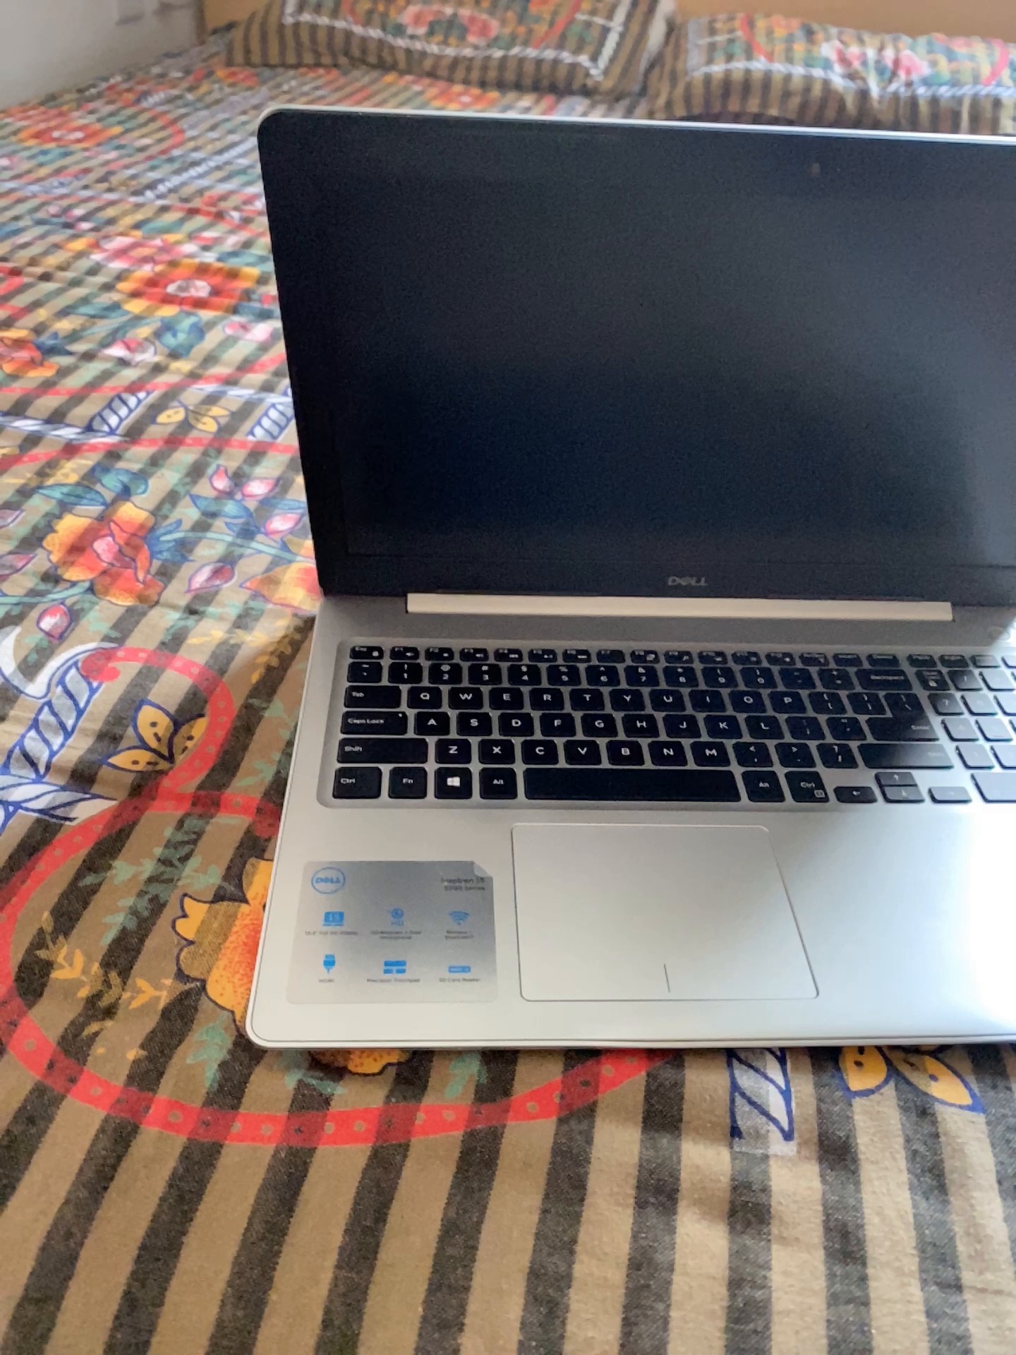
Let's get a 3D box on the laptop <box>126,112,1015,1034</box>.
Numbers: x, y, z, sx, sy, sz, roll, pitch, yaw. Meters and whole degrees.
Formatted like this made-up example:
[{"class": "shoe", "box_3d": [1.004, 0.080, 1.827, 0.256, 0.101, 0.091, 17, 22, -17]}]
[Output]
[{"class": "laptop", "box_3d": [0.098, -0.035, 0.366, 0.373, 0.231, 0.211, 1, 40, -3]}]
